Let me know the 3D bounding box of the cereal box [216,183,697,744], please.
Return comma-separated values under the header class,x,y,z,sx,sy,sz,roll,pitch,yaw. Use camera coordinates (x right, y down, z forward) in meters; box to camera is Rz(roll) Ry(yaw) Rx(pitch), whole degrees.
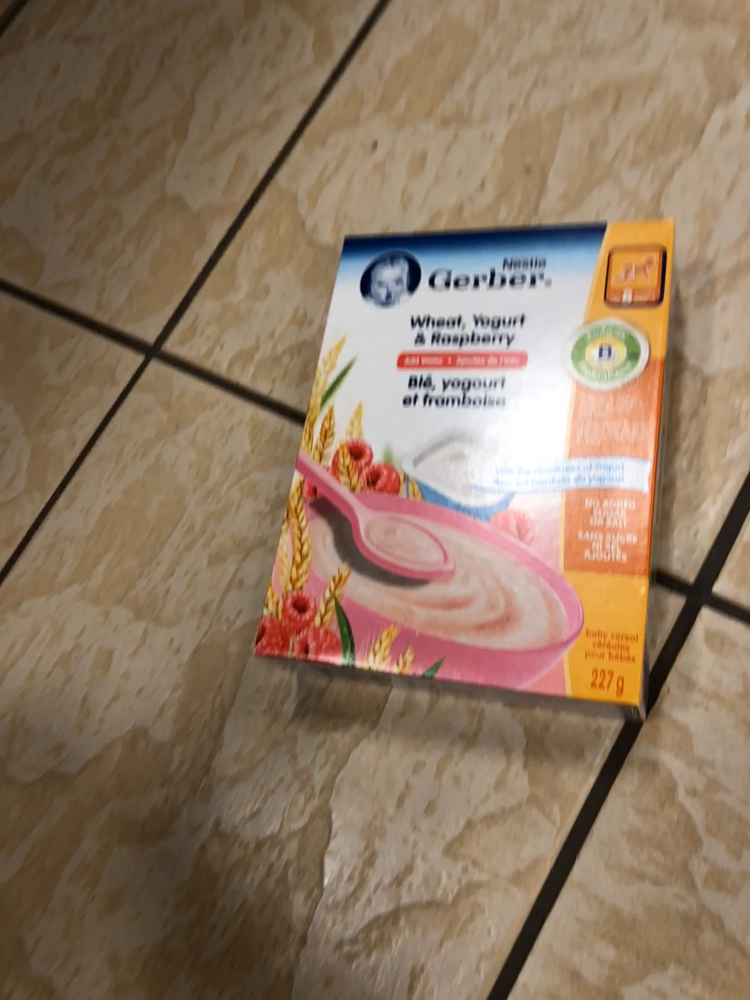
class,x,y,z,sx,sy,sz,roll,pitch,yaw
cereal box,0.041,-0.022,0.344,0.160,0.050,0.210,3,69,21
